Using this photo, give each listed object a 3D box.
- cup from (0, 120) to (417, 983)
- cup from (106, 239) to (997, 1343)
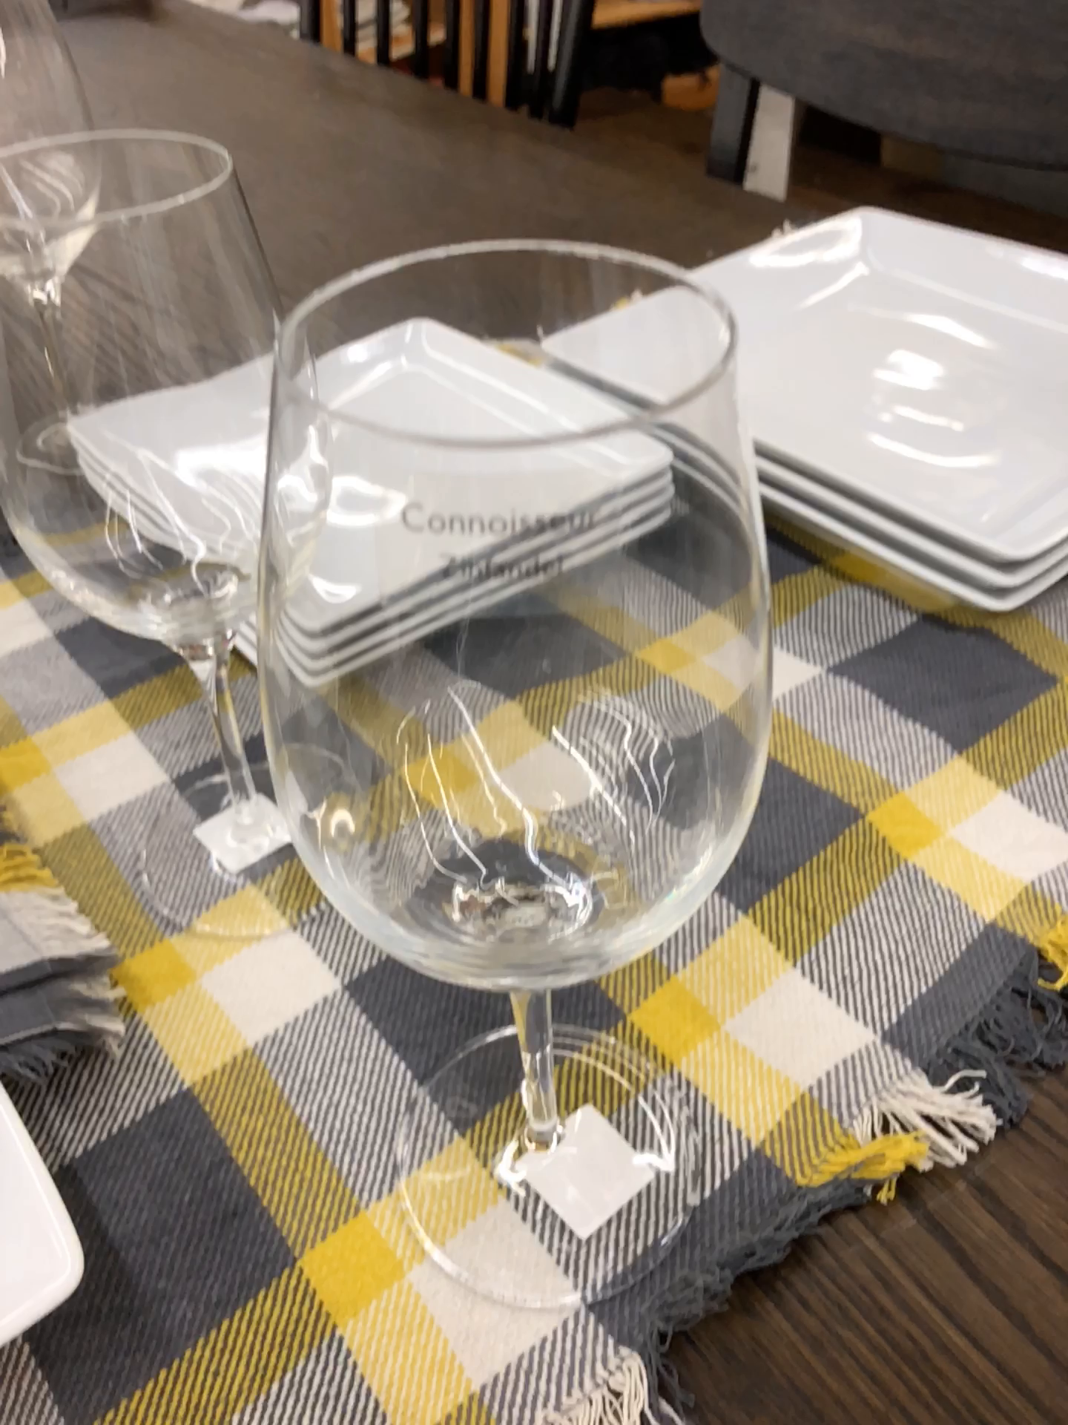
[{"bbox_3d":[-0.087,-0.031,0.299,0.092,0.193,0.097,-1,40,1],"label":"cup"},{"bbox_3d":[0.003,0.027,0.222,0.092,0.192,0.097,-1,40,1],"label":"cup"}]
